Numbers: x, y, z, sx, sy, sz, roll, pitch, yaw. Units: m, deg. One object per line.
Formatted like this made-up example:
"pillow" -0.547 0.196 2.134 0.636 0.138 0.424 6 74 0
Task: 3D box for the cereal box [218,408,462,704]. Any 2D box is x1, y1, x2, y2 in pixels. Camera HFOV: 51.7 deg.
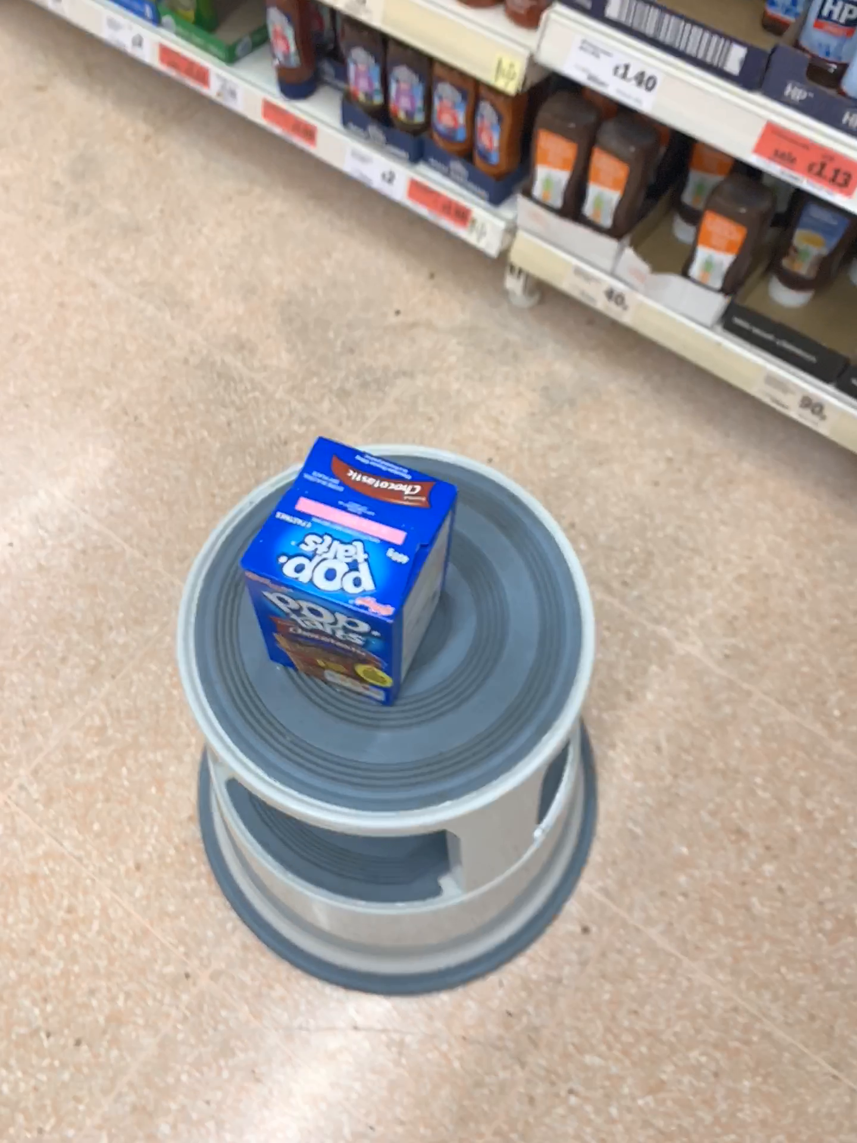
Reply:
"cereal box" -0.049 -0.004 0.562 0.100 0.139 0.111 21 66 9
